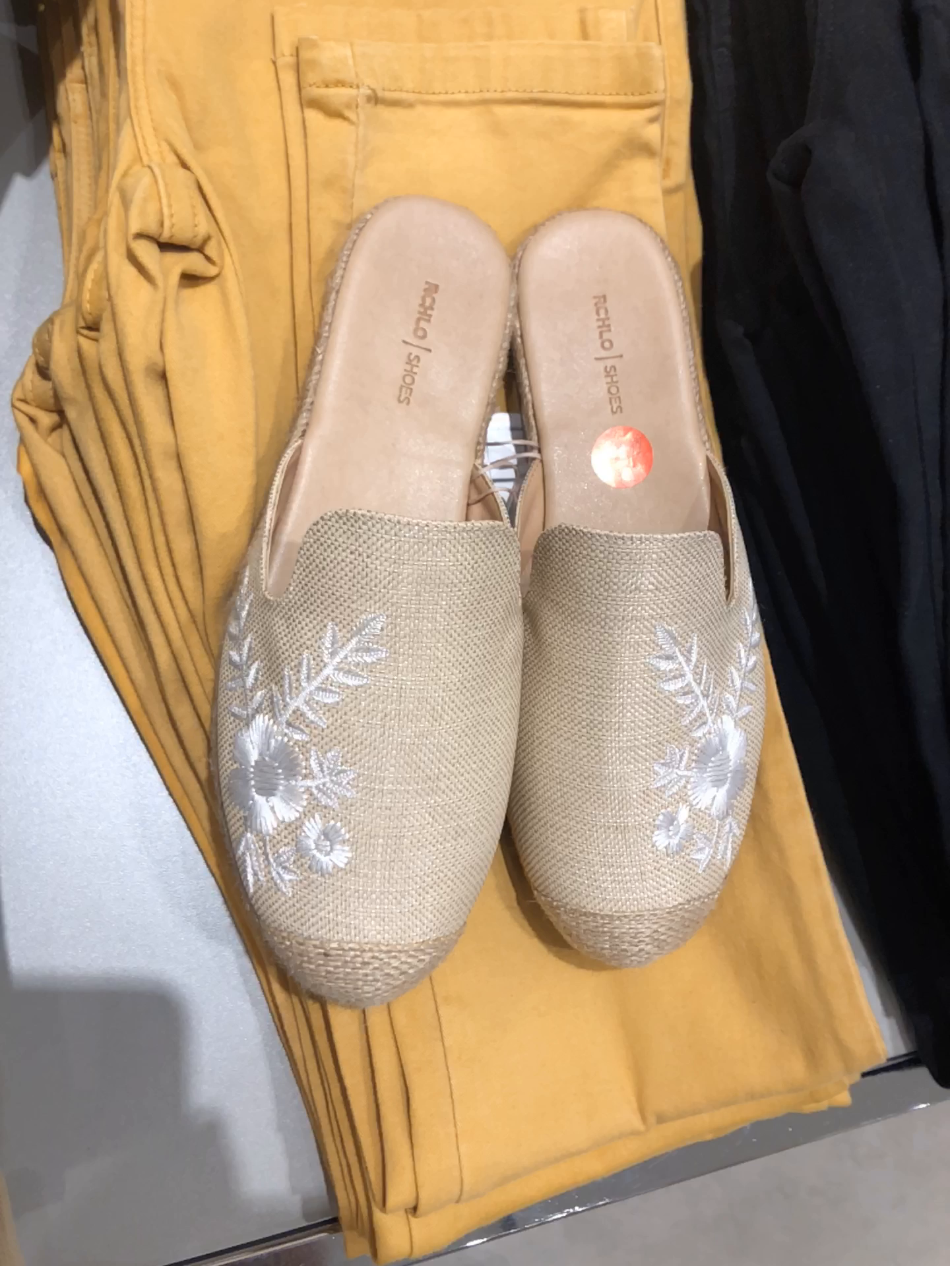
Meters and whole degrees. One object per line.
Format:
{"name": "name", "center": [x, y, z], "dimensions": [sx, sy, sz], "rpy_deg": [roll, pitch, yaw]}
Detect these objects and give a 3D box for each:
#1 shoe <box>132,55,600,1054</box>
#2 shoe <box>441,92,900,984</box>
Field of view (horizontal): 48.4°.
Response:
{"name": "shoe", "center": [-0.026, -0.020, 0.289], "dimensions": [0.090, 0.070, 0.240], "rpy_deg": [7, 78, -11]}
{"name": "shoe", "center": [0.050, -0.029, 0.319], "dimensions": [0.090, 0.070, 0.240], "rpy_deg": [-3, 80, -13]}
